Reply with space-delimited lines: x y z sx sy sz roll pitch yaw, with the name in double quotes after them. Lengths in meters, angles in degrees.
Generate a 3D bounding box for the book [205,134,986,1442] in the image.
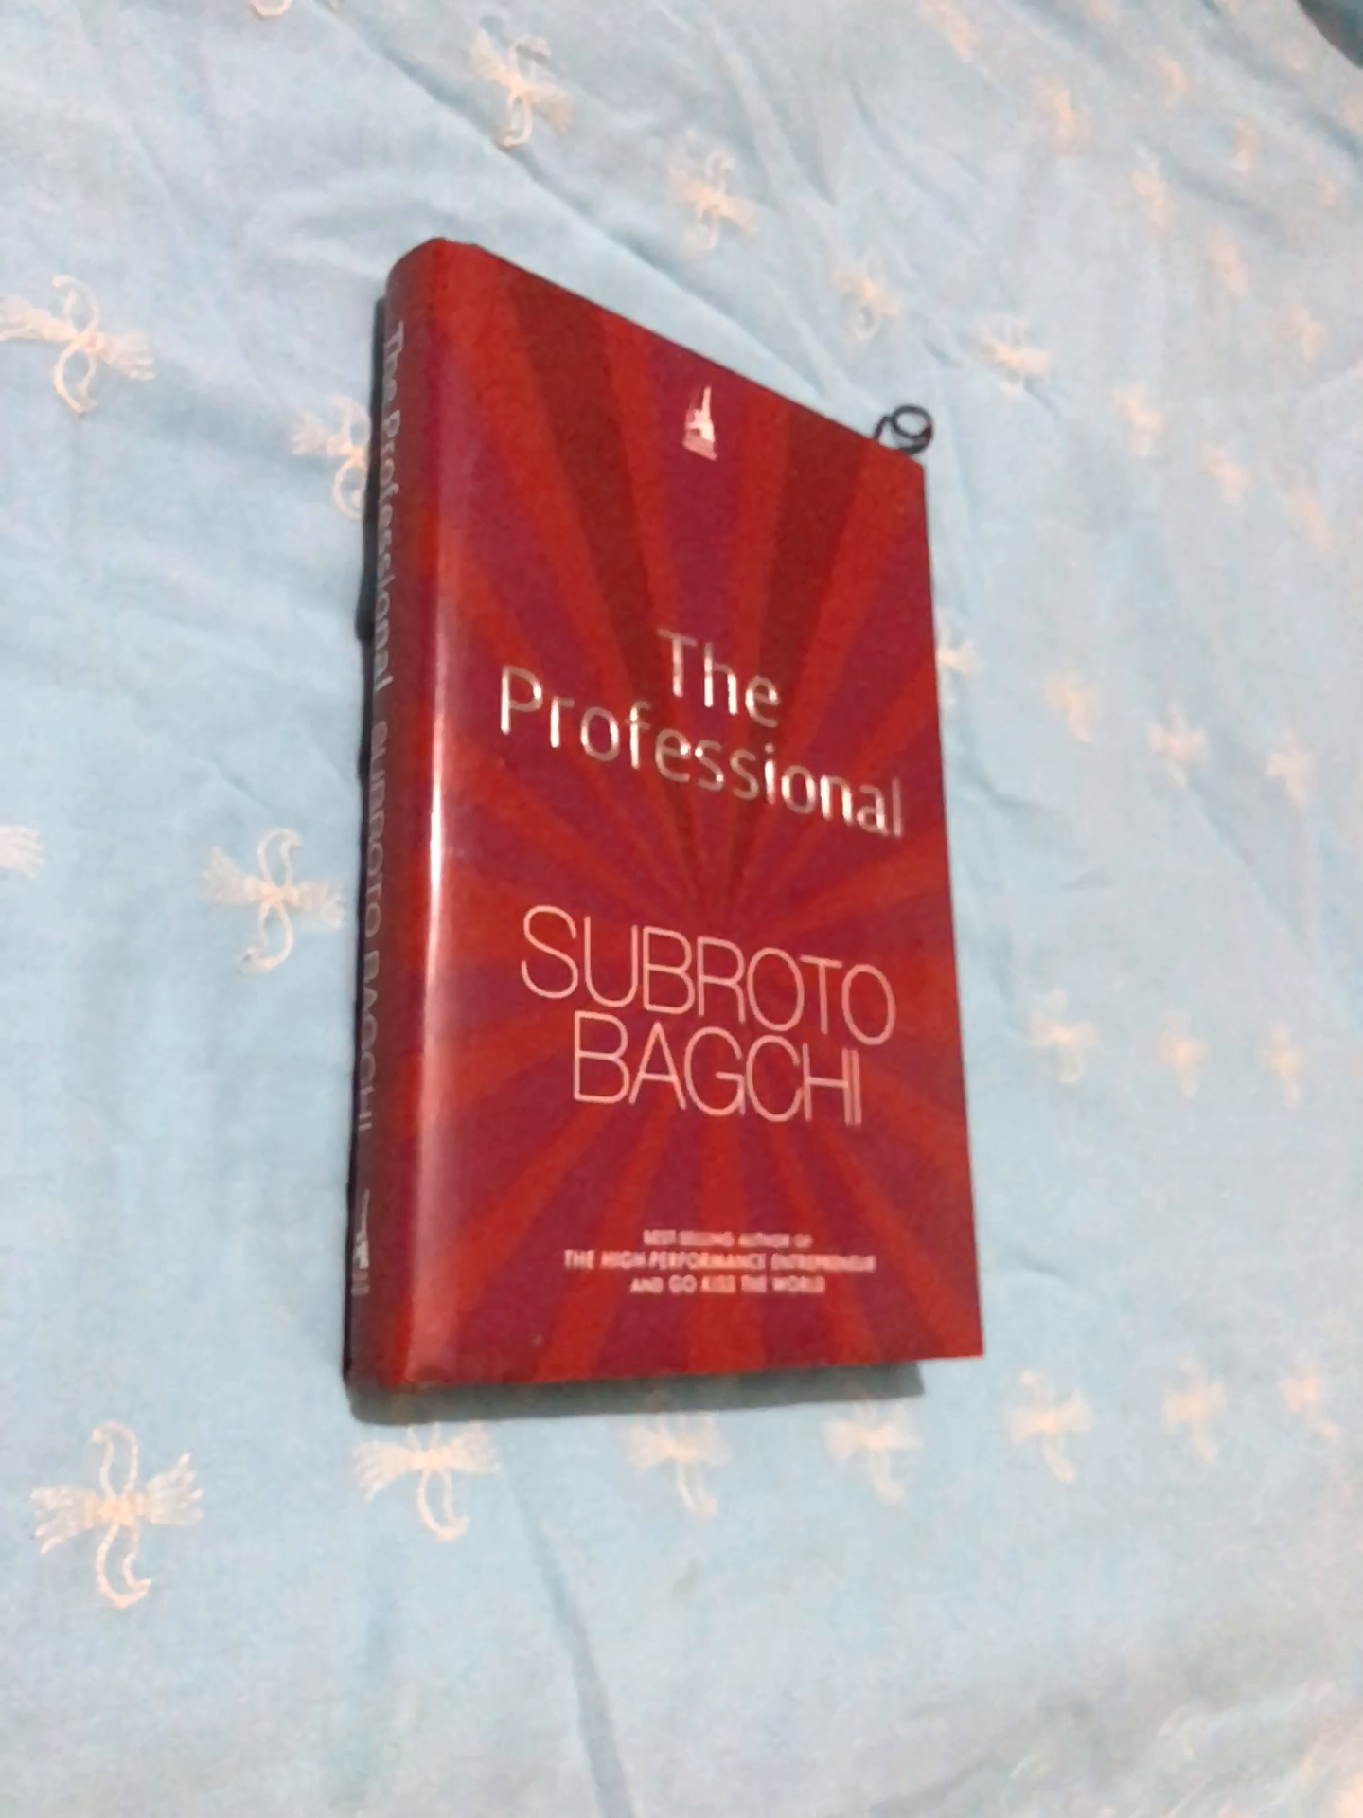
-0.005 -0.015 0.302 0.151 0.030 0.220 13 70 -38 "book"
